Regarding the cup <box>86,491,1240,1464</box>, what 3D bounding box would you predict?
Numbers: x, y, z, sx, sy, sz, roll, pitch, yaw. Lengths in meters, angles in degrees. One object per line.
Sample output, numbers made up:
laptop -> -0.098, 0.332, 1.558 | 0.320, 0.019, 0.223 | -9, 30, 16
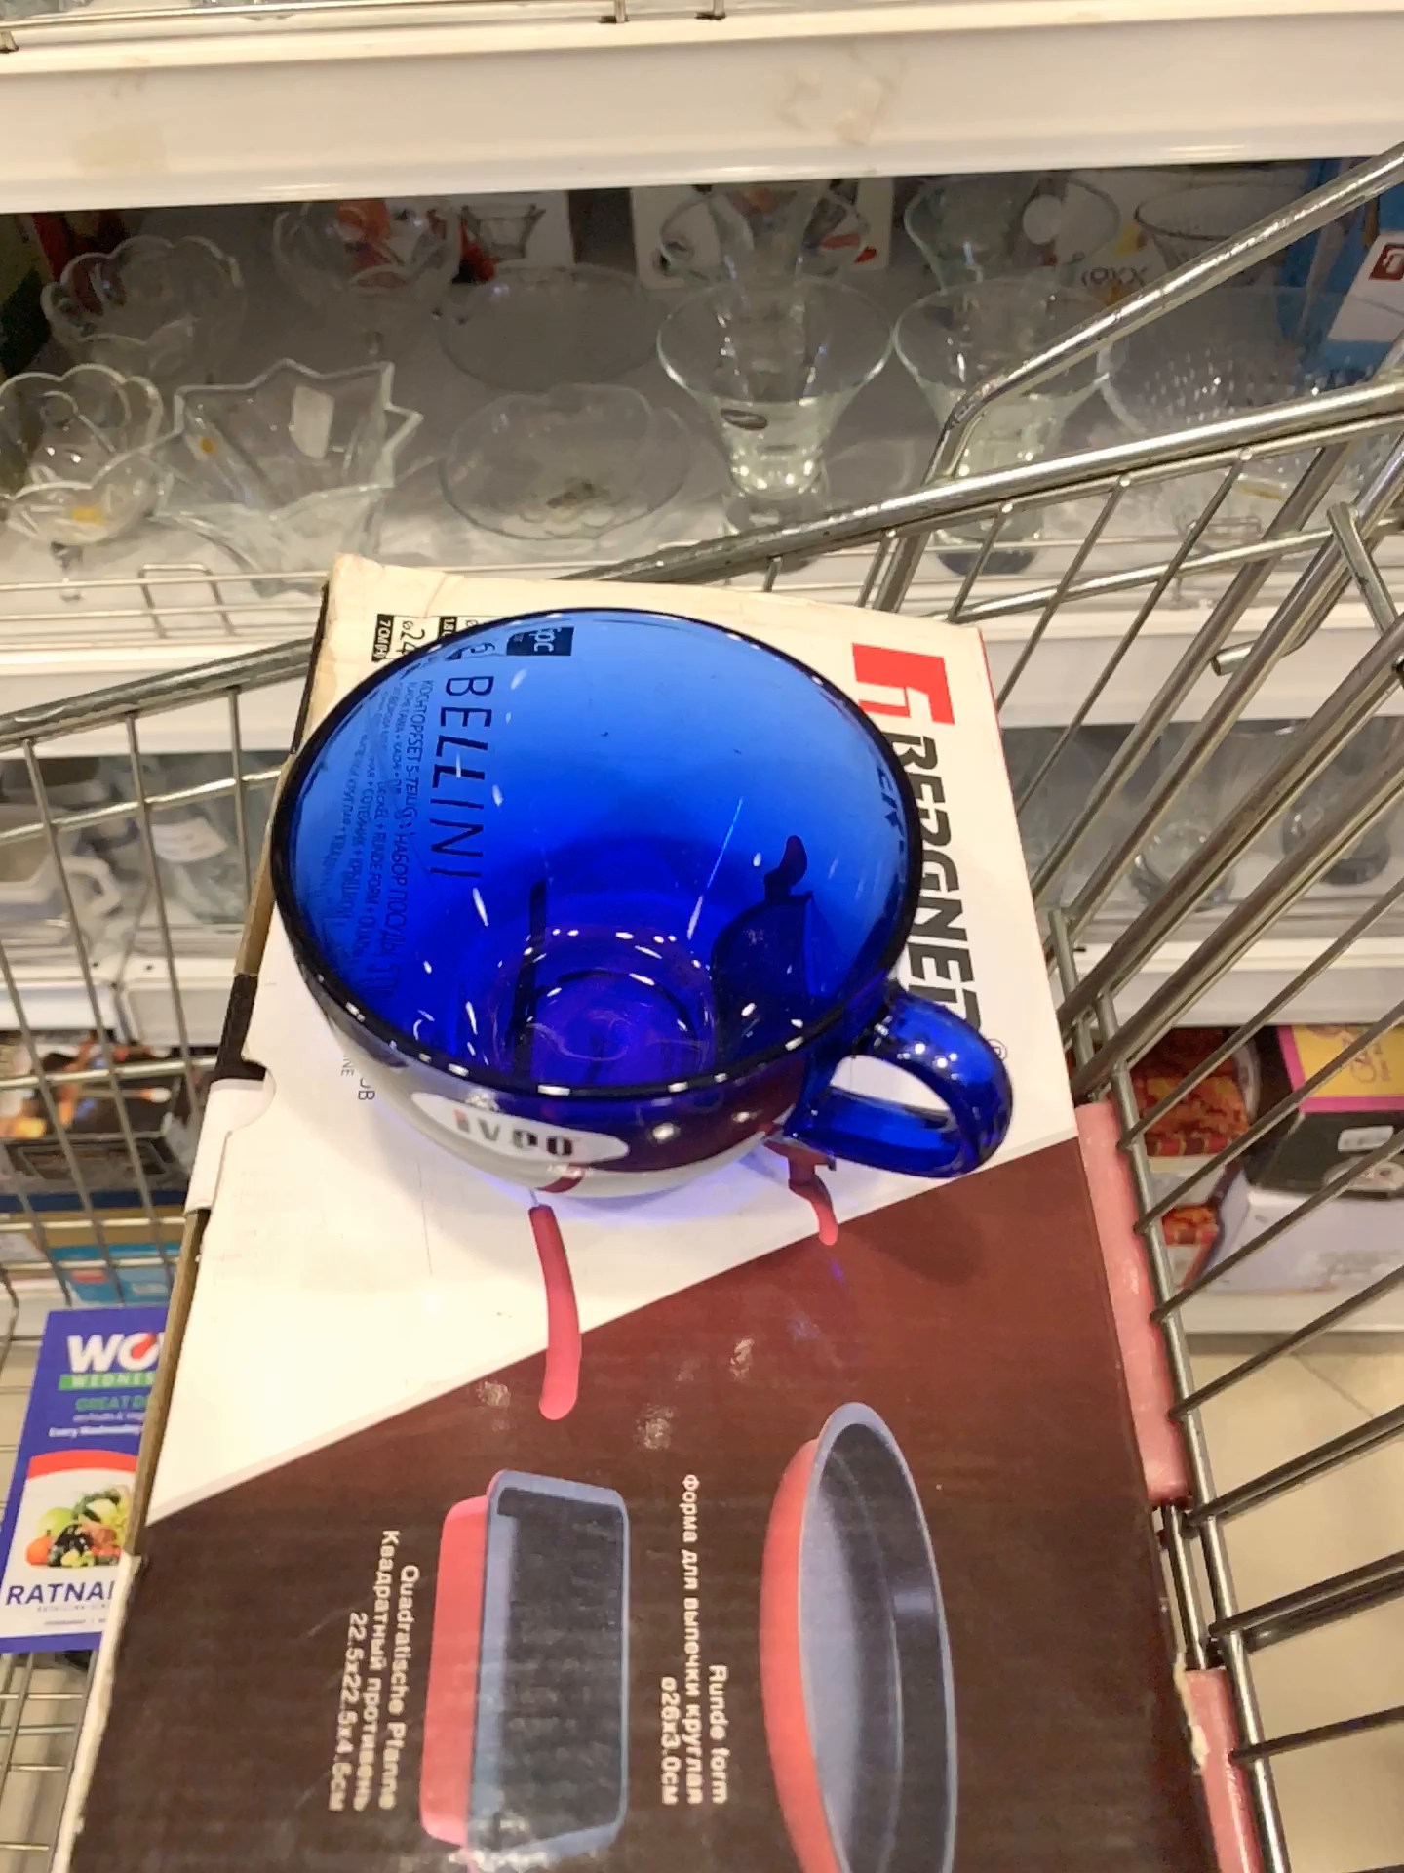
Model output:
cup -> -0.002, -0.001, 0.189 | 0.110, 0.050, 0.080 | 21, 57, 18
